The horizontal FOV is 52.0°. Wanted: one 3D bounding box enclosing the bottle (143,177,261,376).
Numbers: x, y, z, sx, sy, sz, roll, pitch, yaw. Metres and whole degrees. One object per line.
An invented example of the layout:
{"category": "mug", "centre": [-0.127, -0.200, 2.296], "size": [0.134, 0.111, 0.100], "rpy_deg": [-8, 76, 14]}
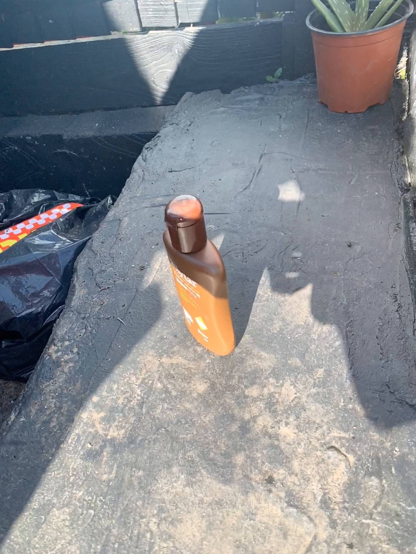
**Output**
{"category": "bottle", "centre": [0.001, 0.005, 0.341], "size": [0.040, 0.149, 0.070], "rpy_deg": [-34, 50, -21]}
